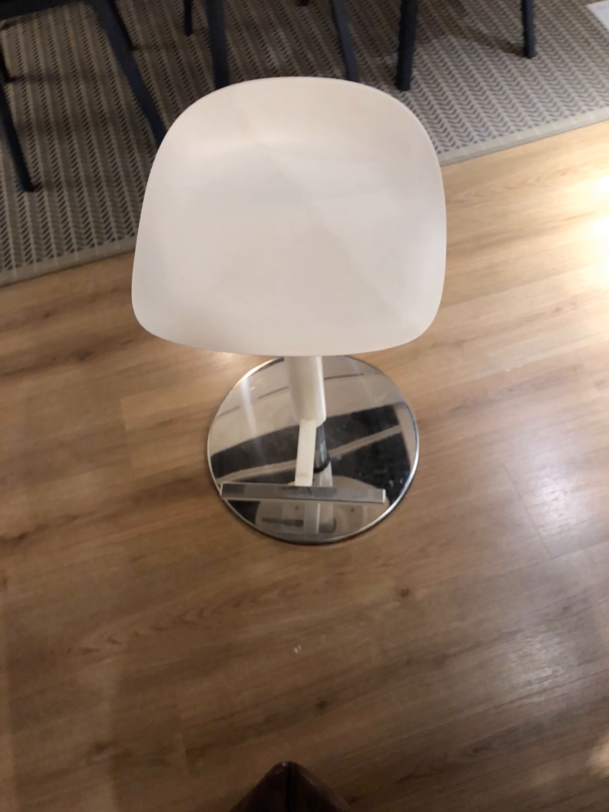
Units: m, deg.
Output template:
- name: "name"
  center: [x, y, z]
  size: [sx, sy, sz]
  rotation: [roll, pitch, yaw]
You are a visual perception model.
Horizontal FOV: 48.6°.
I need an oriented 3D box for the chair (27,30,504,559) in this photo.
- name: "chair"
  center: [-0.014, -0.090, 1.033]
  size: [0.440, 0.699, 0.451]
  rotation: [-1, 61, 4]
